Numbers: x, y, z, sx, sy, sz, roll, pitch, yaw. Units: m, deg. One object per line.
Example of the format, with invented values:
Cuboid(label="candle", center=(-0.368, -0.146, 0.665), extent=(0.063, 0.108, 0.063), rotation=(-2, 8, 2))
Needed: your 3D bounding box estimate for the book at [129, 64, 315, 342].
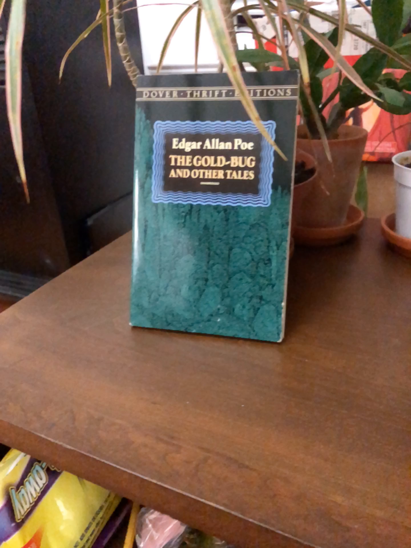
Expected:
Cuboid(label="book", center=(0.011, -0.058, 0.375), extent=(0.140, 0.210, 0.020), rotation=(4, 4, 14))
